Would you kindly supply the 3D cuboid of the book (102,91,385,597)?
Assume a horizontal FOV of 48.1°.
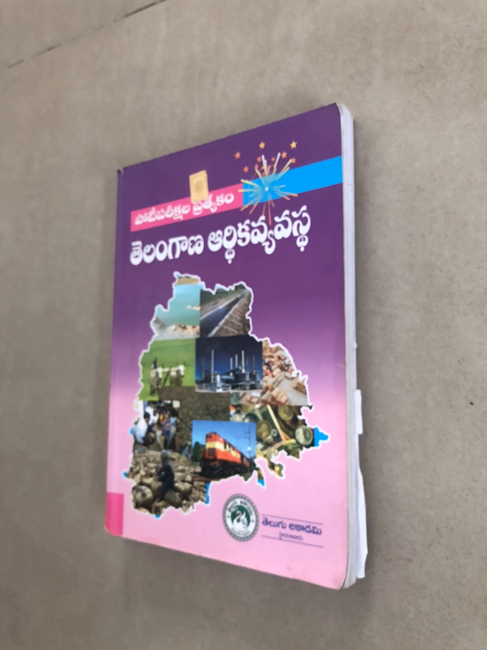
[{"bbox_3d":[-0.012,0.011,0.358,0.192,0.040,0.268,-3,85,34],"label":"book"}]
